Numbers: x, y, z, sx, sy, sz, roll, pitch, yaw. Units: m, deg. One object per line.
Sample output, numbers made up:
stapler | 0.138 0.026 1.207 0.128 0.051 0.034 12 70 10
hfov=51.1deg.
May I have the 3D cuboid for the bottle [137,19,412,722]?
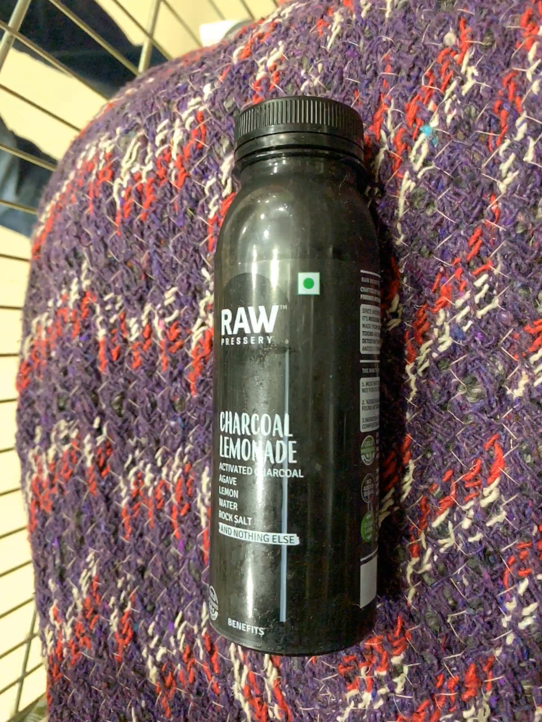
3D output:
bottle | 0.002 0.004 0.163 0.060 0.050 0.160 2 94 29
